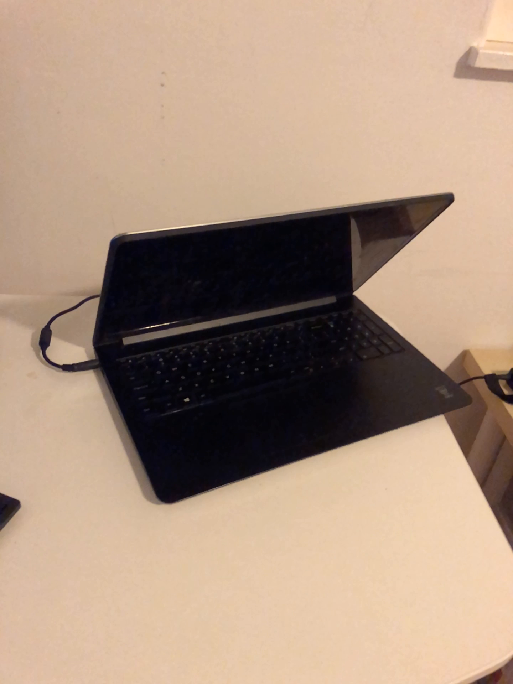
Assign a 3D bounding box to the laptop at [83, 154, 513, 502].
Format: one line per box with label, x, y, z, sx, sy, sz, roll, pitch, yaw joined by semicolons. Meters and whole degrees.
laptop;0.040;-0.047;0.608;0.373;0.207;0.252;-13;39;-23
